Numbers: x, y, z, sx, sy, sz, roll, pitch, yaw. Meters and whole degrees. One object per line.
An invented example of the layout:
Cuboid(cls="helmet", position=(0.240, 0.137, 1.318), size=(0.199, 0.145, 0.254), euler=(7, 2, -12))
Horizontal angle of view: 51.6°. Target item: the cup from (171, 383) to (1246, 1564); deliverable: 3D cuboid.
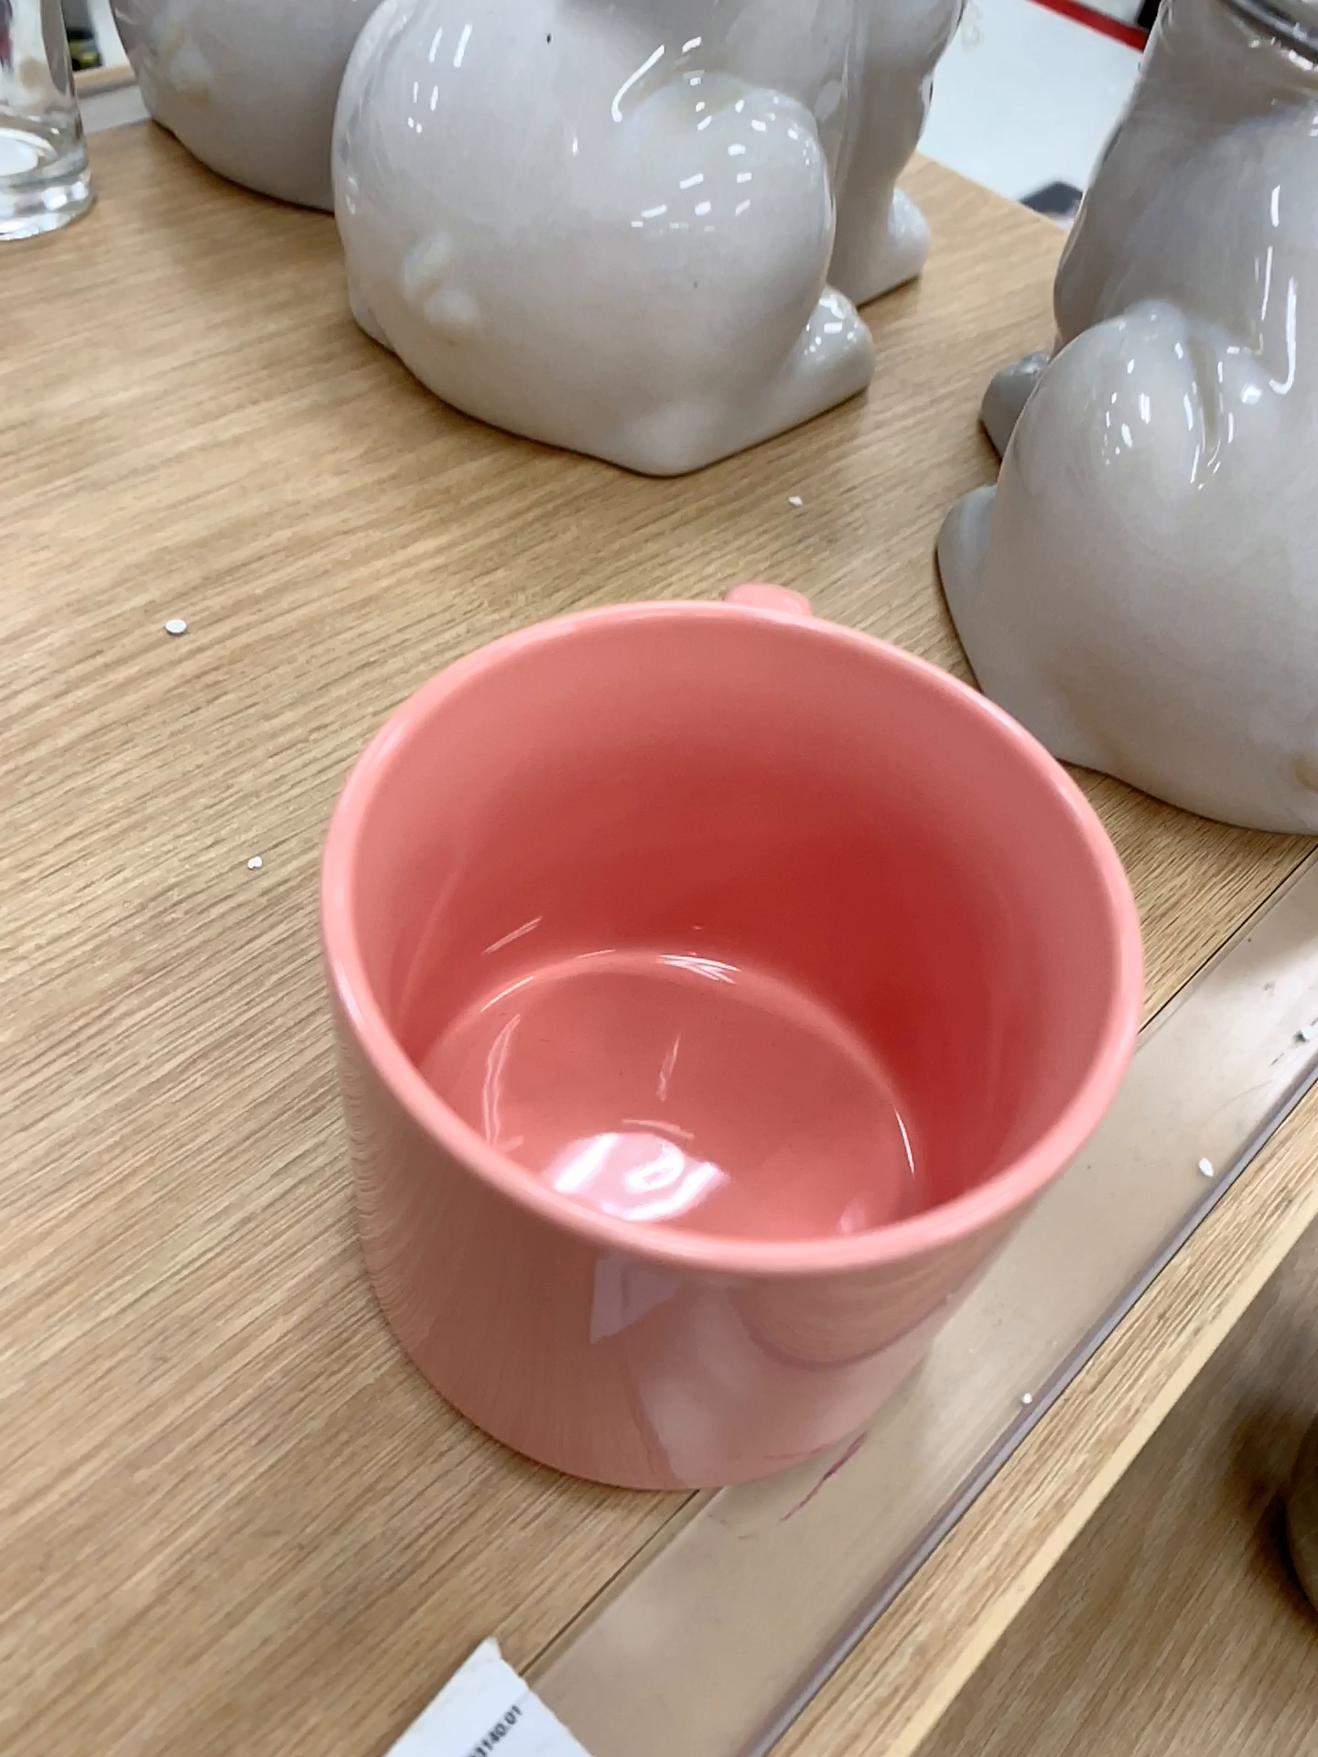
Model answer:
Cuboid(cls="cup", position=(0.011, 0.010, 0.204), size=(0.104, 0.085, 0.133), euler=(12, 51, 1))
